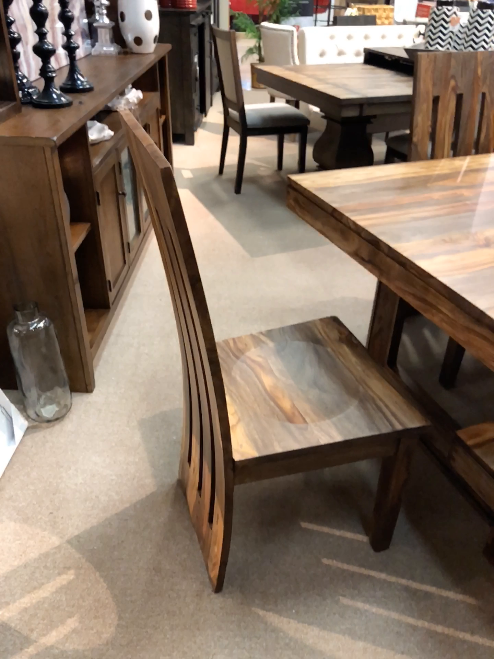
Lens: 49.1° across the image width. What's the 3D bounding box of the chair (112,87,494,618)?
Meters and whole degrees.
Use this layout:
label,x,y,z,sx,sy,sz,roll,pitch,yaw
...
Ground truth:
label,x,y,z,sx,sy,sz,roll,pitch,yaw
chair,0.079,0.049,1.248,0.590,1.023,0.514,-10,35,-17
